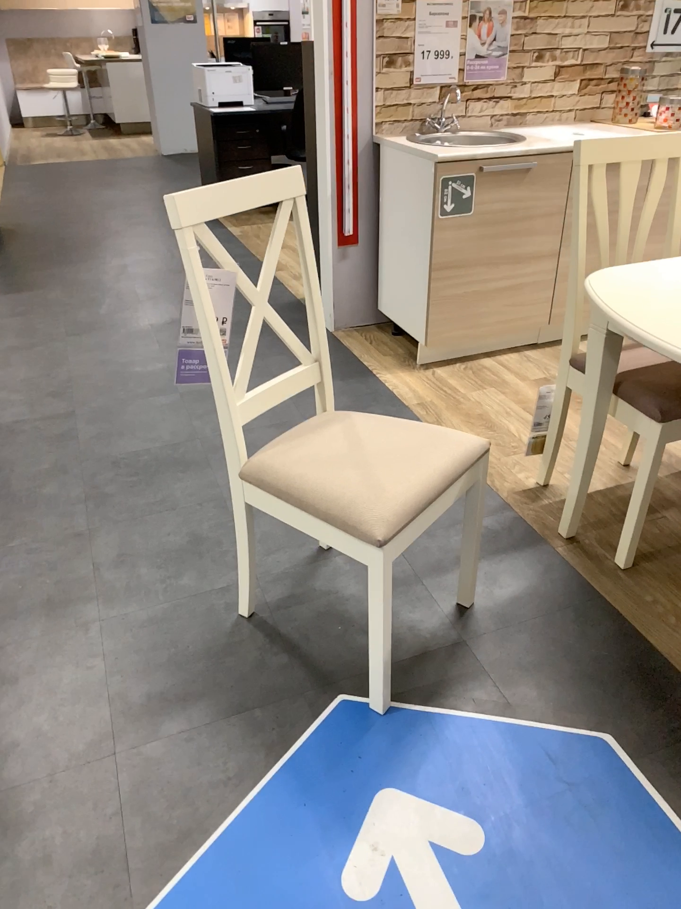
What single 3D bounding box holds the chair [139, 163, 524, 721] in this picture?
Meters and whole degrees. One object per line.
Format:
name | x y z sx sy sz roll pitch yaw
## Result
chair | -0.006 -0.039 1.489 0.528 0.989 0.437 21 37 31
